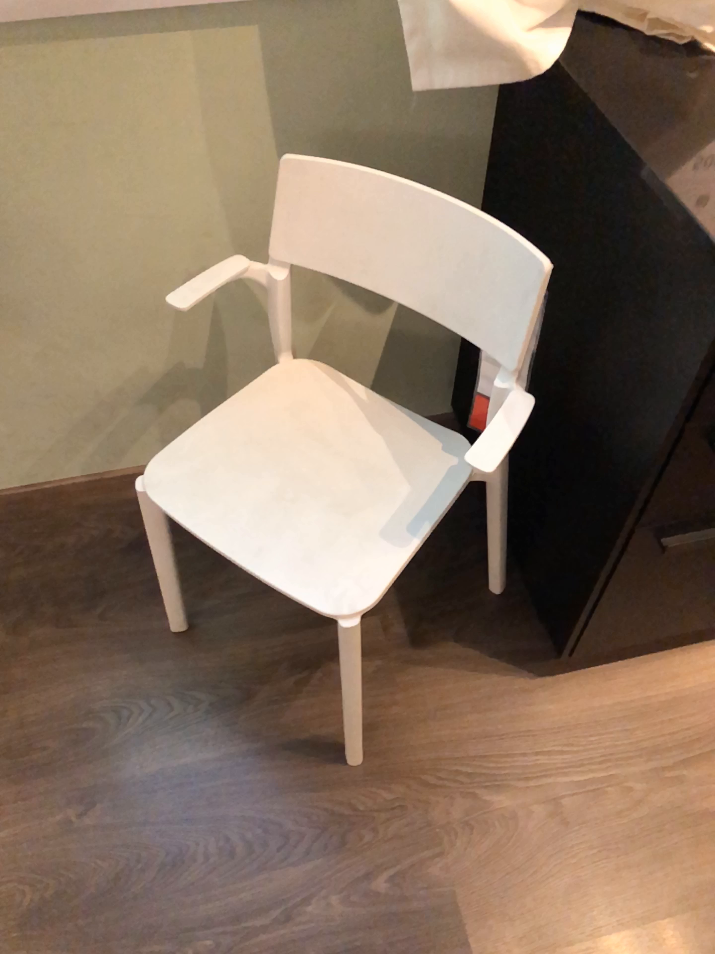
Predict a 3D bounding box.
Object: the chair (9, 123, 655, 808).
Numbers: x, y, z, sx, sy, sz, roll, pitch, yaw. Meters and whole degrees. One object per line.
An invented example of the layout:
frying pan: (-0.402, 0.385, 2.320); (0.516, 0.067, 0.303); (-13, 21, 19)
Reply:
chair: (-0.013, -0.002, 1.261); (0.561, 0.756, 0.582); (30, 57, 22)
